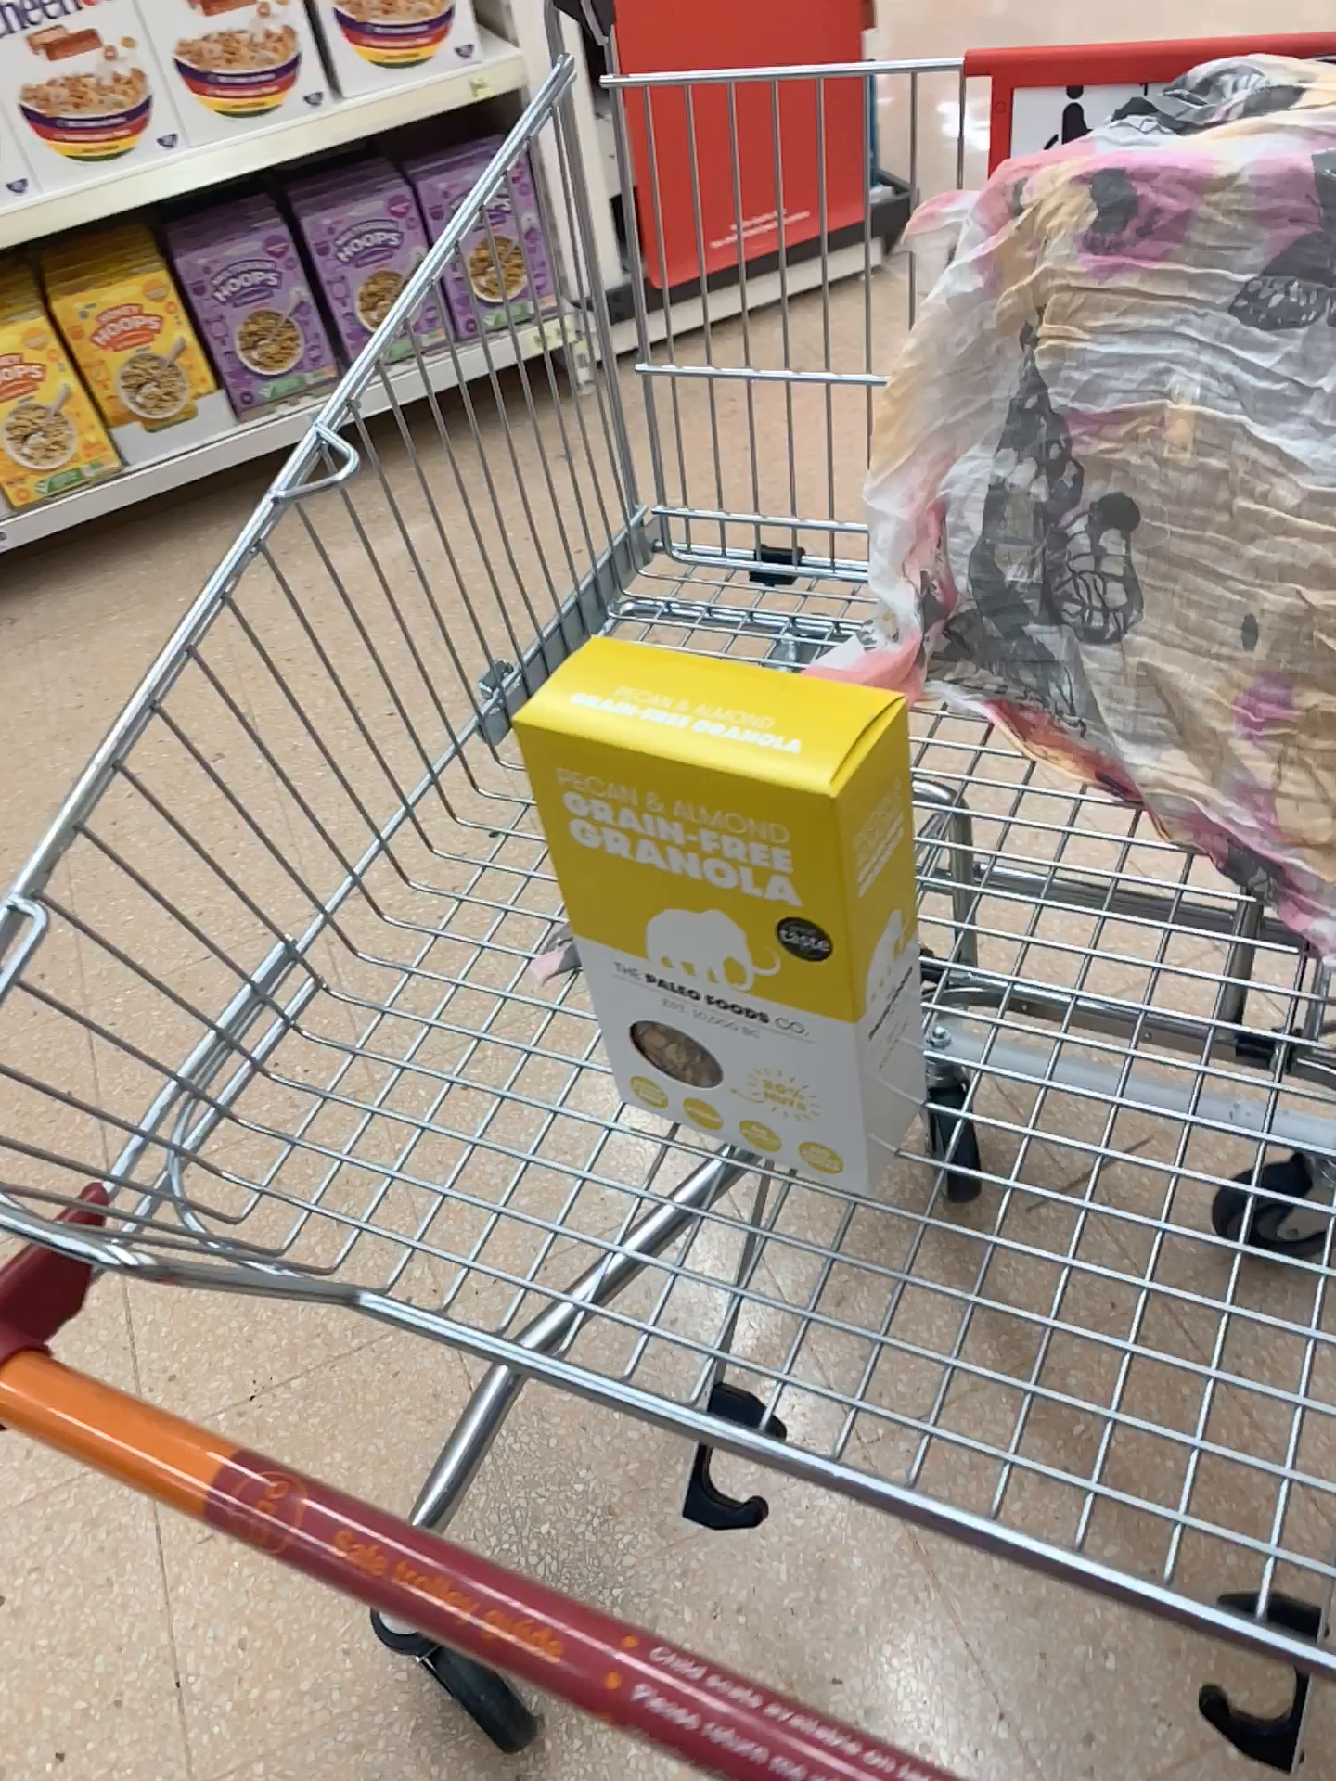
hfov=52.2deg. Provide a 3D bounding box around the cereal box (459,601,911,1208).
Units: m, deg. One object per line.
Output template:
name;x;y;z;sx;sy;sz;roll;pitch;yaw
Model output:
cereal box;0.016;0.010;0.503;0.130;0.208;0.060;17;49;26
